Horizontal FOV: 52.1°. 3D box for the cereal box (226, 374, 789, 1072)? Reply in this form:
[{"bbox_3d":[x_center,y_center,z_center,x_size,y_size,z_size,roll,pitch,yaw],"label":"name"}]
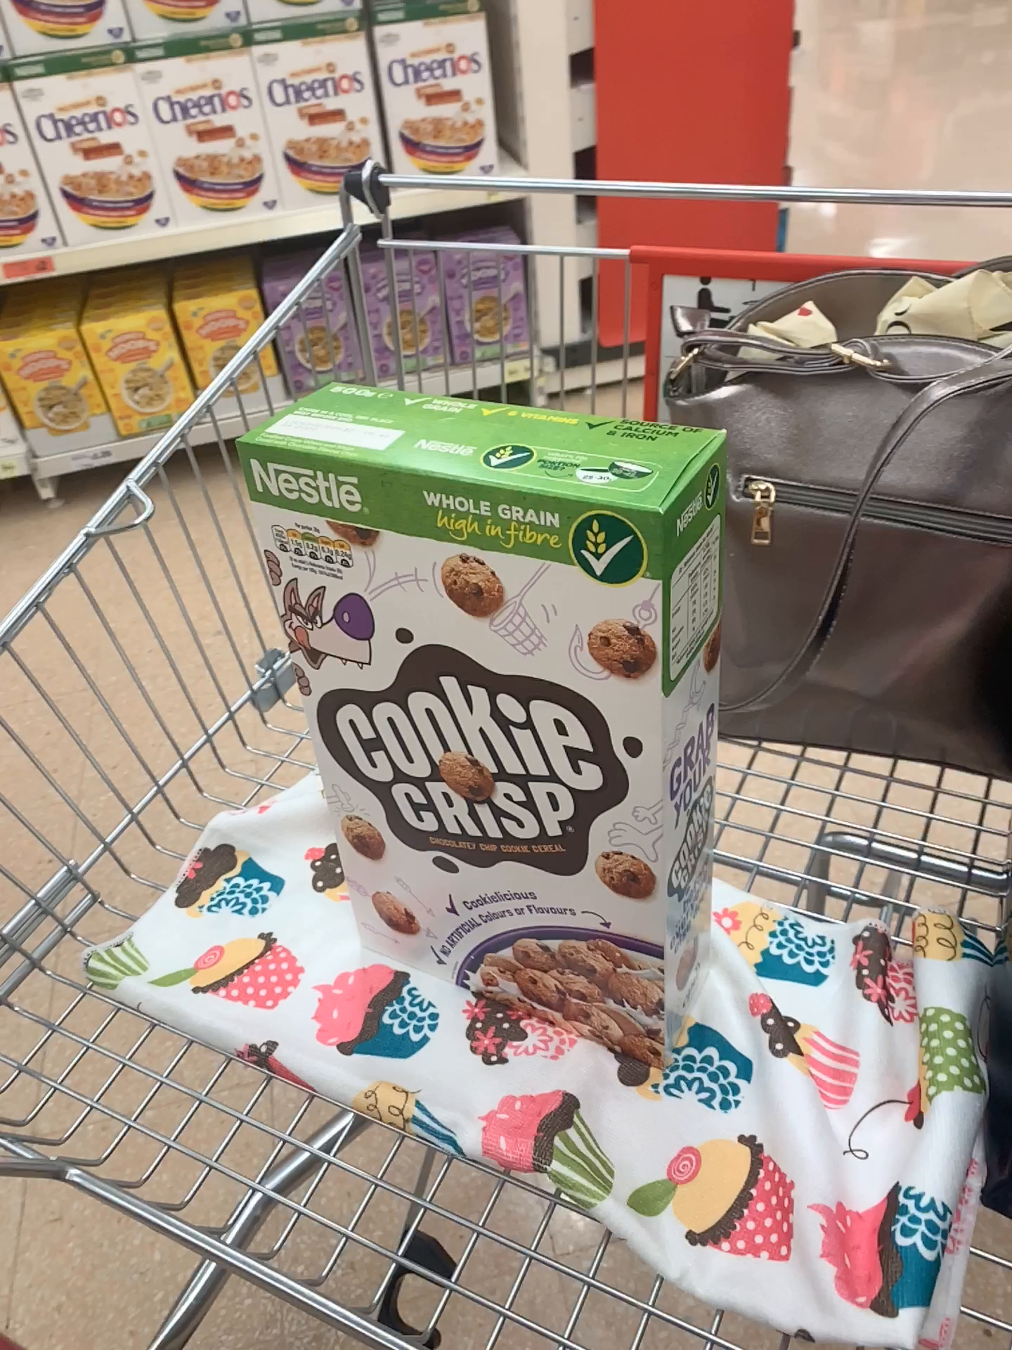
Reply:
[{"bbox_3d":[0.003,0.029,0.504,0.221,0.307,0.070,14,38,24],"label":"cereal box"}]
